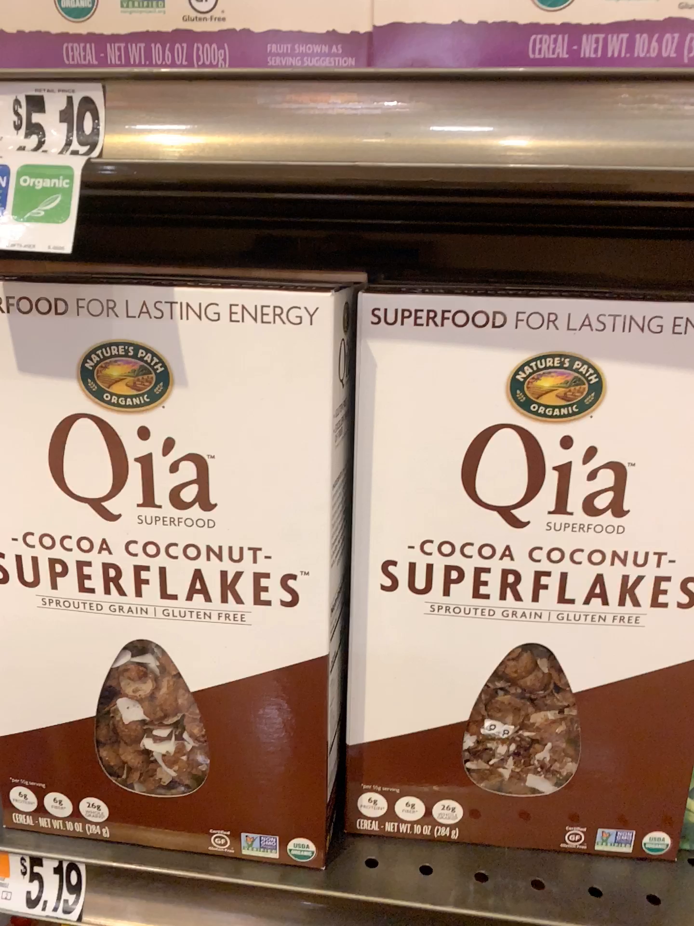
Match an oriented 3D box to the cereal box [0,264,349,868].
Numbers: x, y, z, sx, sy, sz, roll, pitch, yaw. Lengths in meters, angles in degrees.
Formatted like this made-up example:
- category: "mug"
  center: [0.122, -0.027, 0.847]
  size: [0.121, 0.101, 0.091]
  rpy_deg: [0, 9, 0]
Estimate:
- category: "cereal box"
  center: [-0.086, 0.047, 0.327]
  size: [0.160, 0.259, 0.060]
  rpy_deg: [3, 16, 6]
